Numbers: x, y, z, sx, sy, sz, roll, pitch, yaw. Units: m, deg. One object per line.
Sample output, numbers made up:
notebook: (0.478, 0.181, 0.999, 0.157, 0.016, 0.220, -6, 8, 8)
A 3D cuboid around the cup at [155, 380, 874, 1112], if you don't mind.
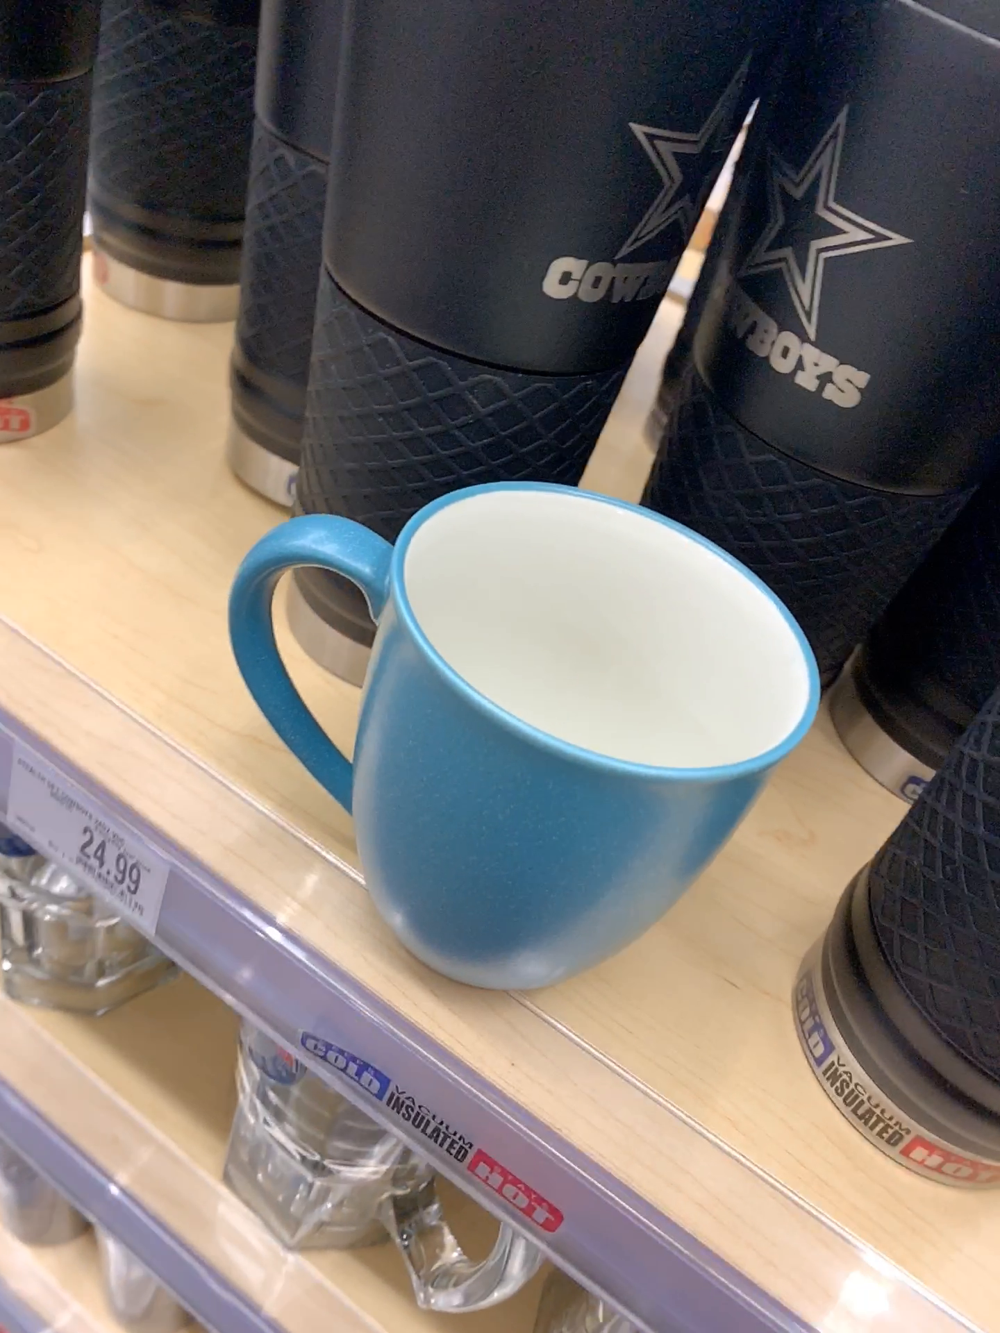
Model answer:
cup: (0.003, 0.012, 0.230, 0.116, 0.084, 0.090, 27, 41, 8)
